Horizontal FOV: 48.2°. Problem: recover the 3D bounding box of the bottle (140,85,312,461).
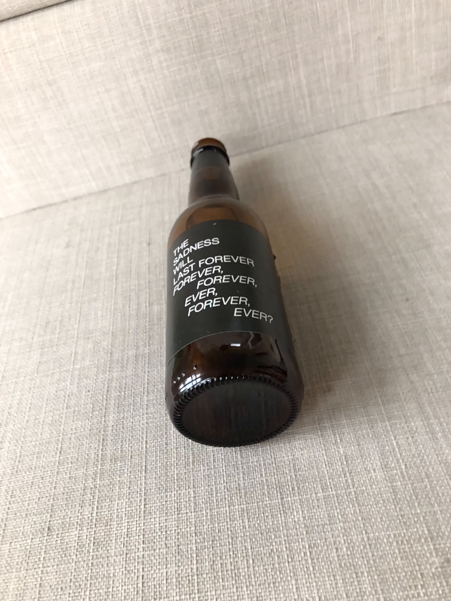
[{"bbox_3d":[-0.006,-0.038,0.293,0.060,0.060,0.240,-12,46,6],"label":"bottle"}]
